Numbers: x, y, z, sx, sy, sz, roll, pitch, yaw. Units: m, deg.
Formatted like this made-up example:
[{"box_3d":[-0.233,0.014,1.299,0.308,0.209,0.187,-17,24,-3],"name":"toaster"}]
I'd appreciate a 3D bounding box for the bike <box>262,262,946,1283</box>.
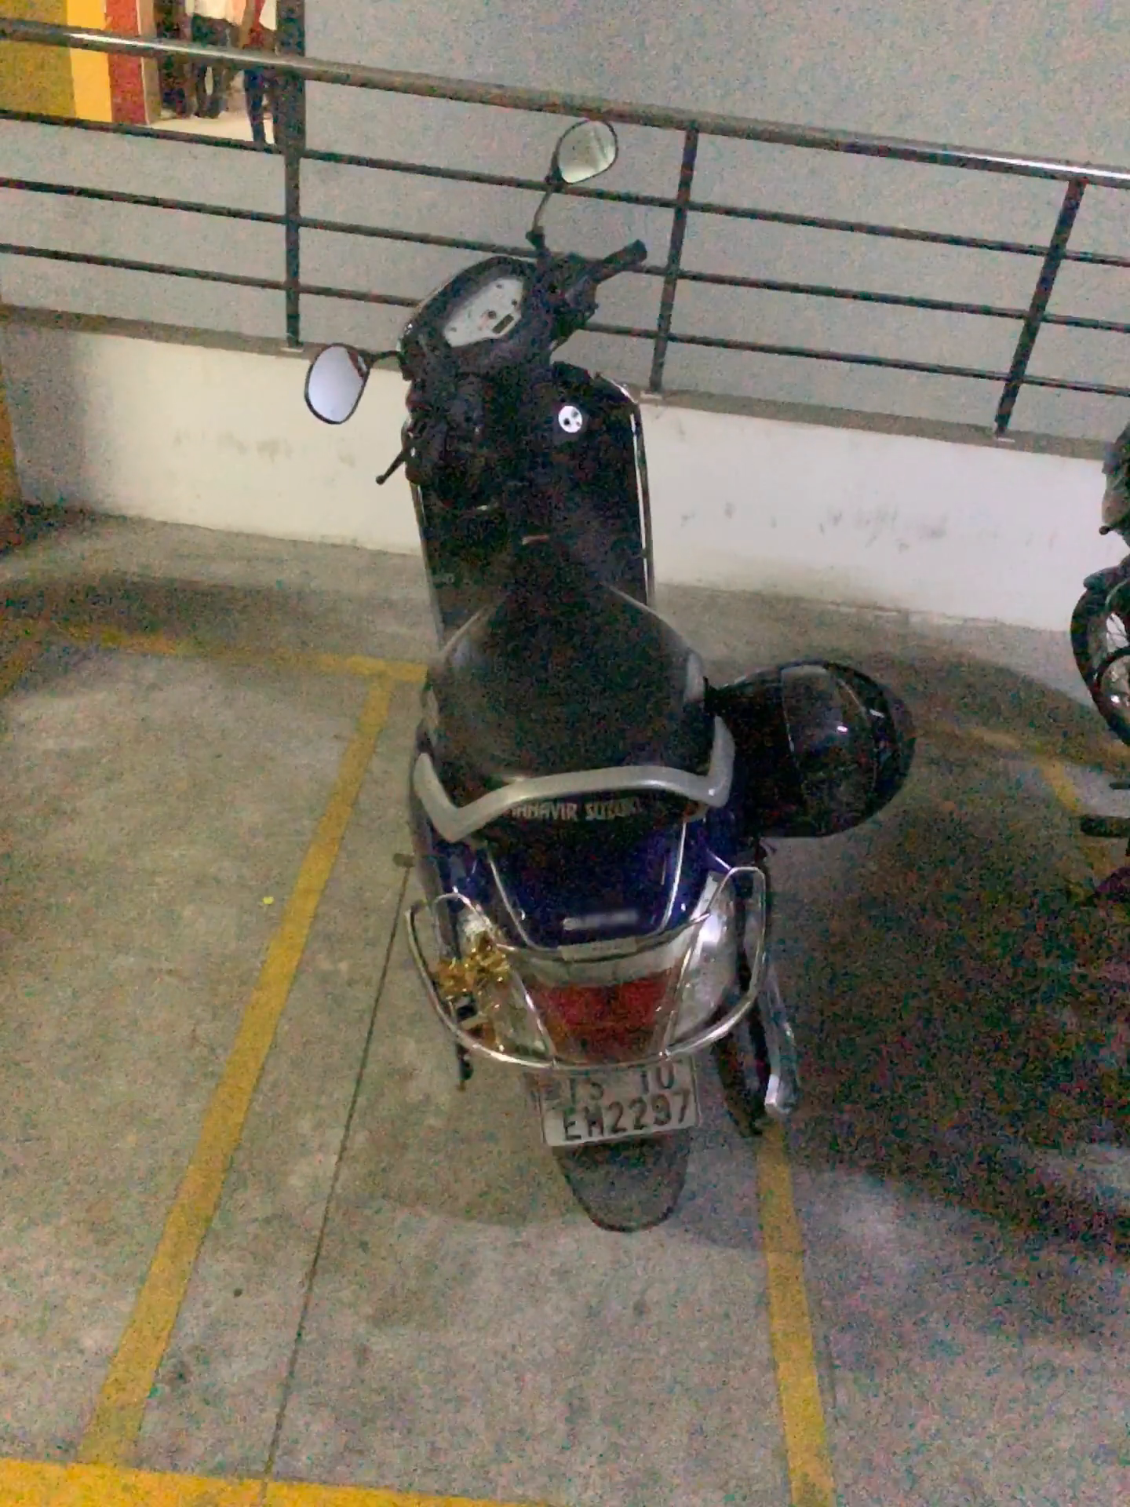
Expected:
[{"box_3d":[-0.151,-0.109,1.970,0.622,1.157,1.482,0,30,-12],"name":"bike"}]
